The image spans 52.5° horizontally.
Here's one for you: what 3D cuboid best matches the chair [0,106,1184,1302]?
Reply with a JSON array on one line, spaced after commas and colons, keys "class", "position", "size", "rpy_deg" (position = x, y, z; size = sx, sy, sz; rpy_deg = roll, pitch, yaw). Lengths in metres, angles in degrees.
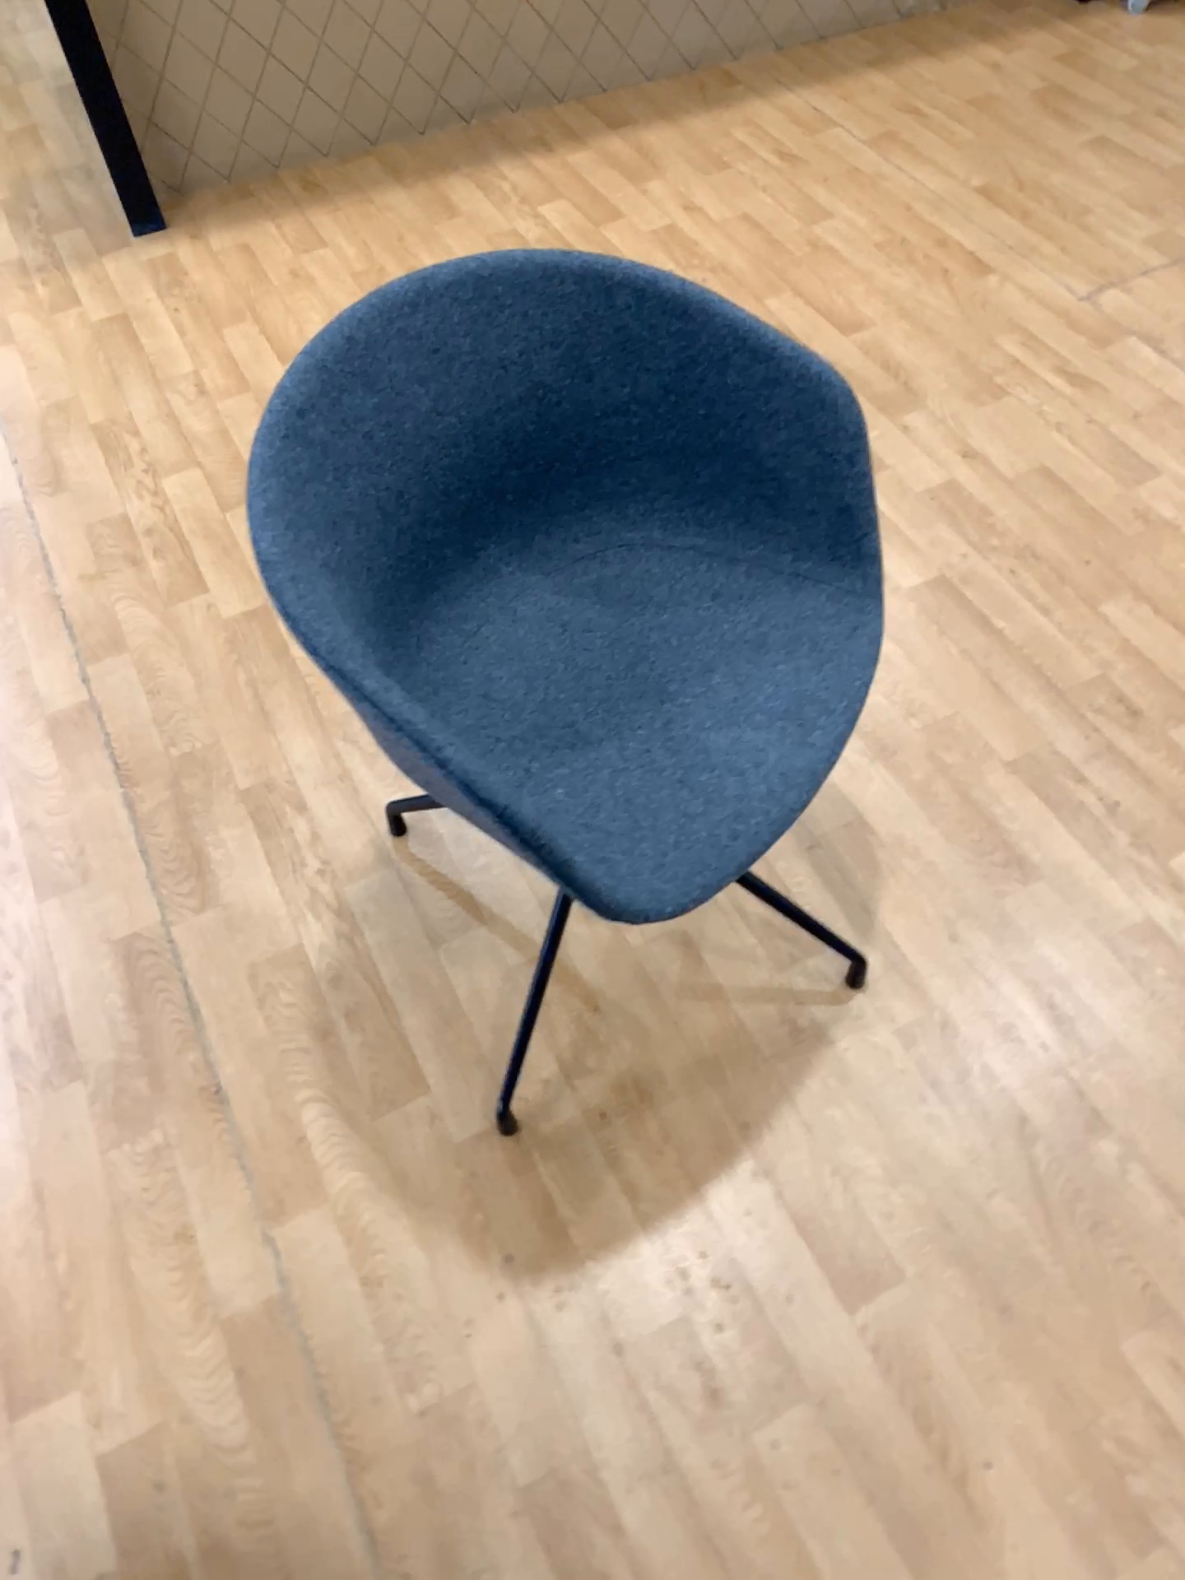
[{"class": "chair", "position": [0.017, -0.105, 1.215], "size": [0.732, 0.685, 0.713], "rpy_deg": [30, 61, 24]}]
